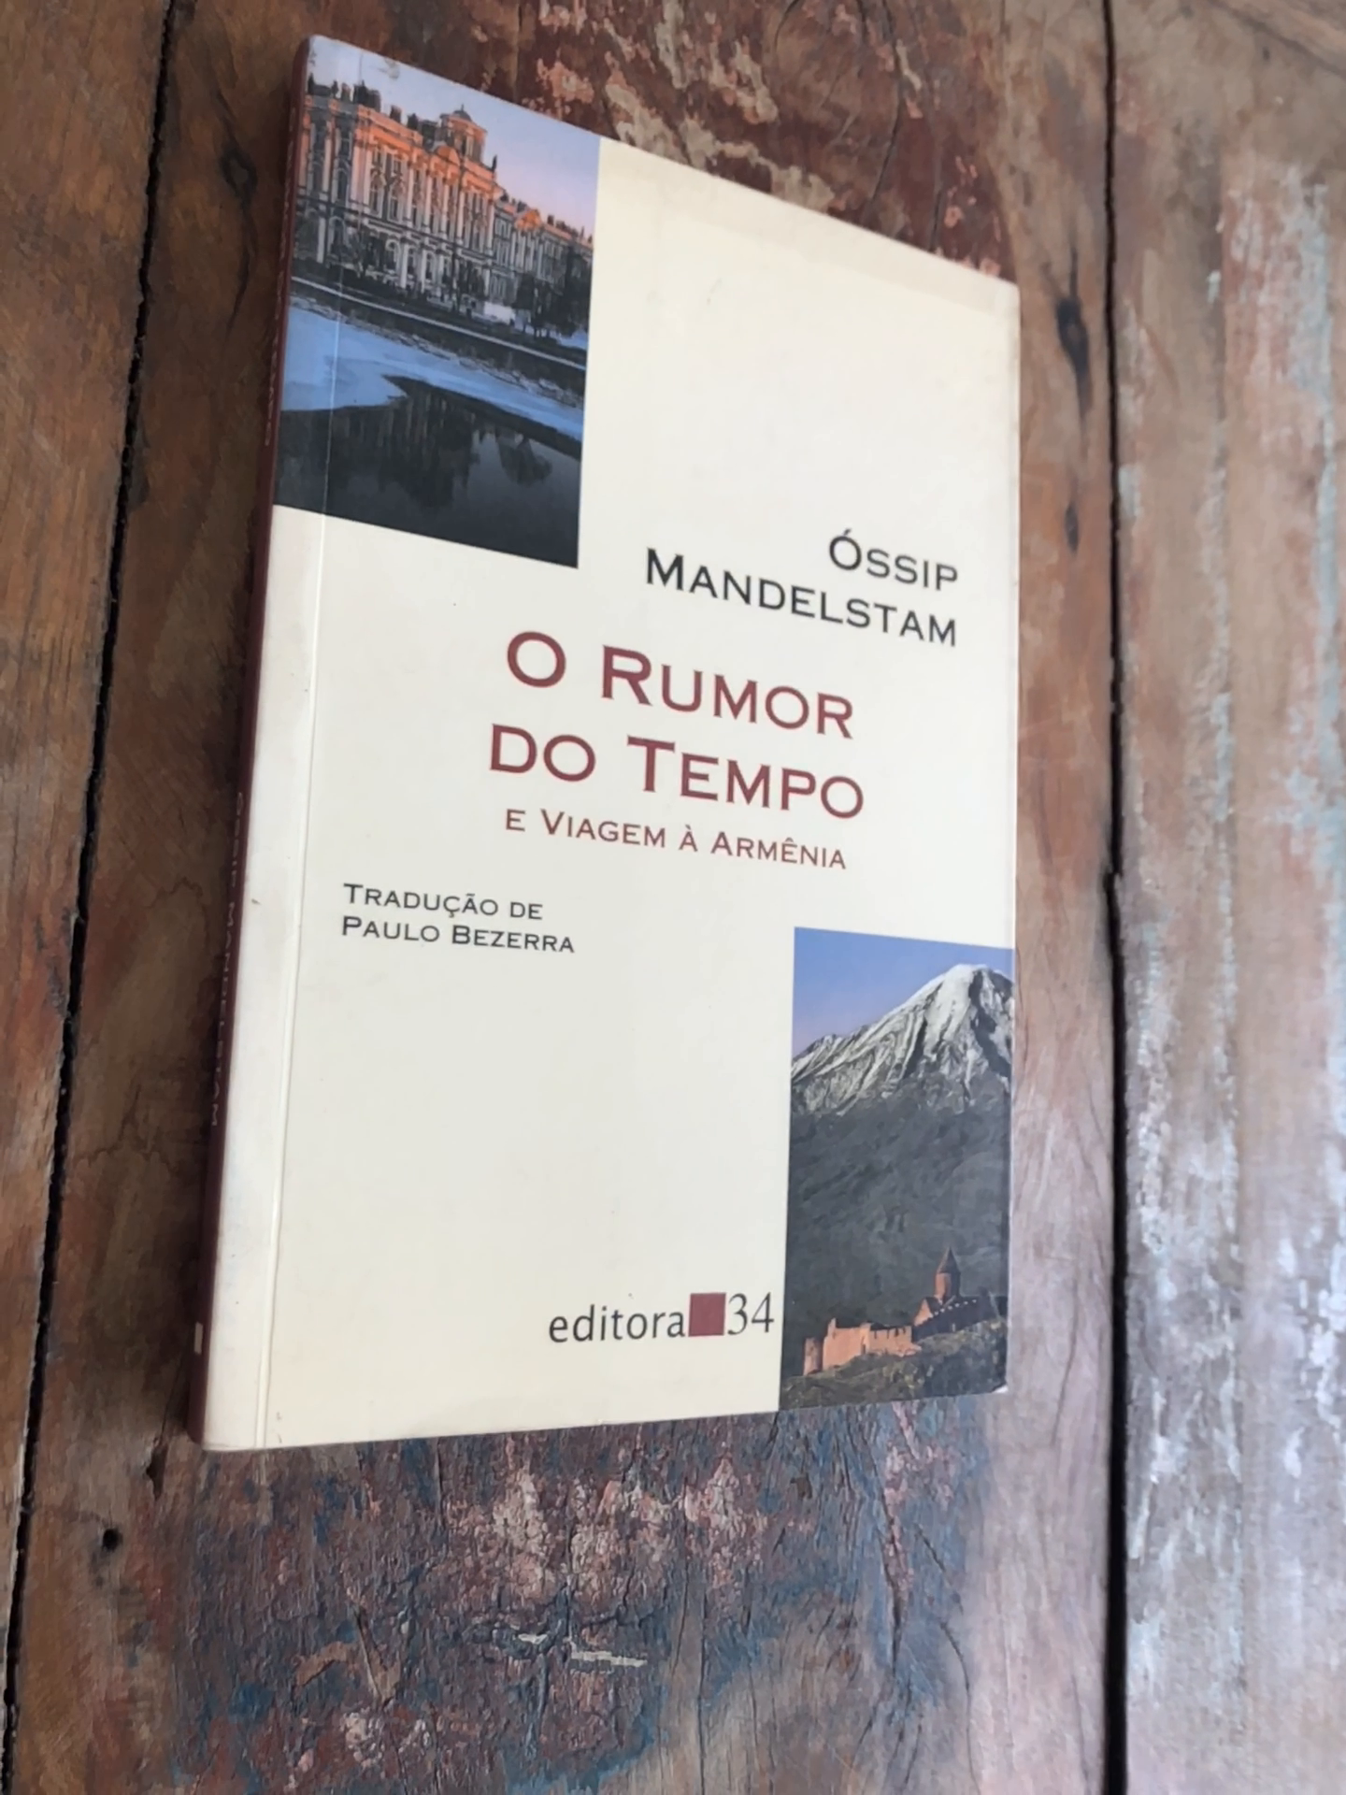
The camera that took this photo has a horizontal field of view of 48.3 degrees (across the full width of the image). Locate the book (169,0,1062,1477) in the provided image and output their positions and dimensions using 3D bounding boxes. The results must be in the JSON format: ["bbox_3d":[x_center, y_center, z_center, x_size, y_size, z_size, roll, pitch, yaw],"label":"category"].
[{"bbox_3d":[0.001,-0.022,0.244,0.141,0.022,0.207,6,82,-27],"label":"book"}]
